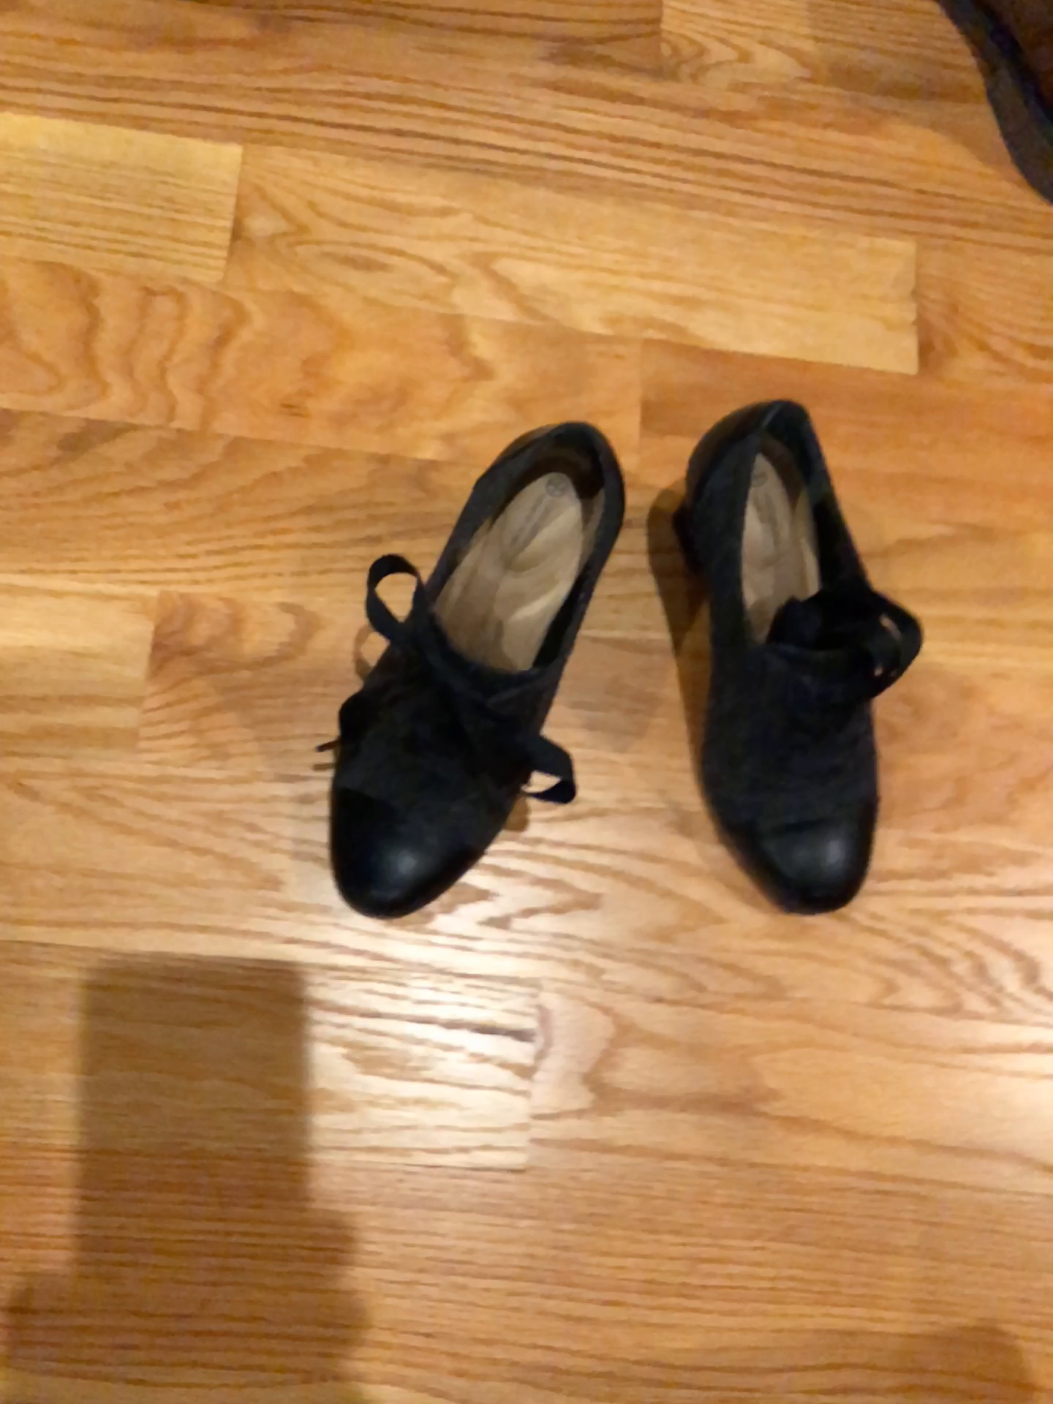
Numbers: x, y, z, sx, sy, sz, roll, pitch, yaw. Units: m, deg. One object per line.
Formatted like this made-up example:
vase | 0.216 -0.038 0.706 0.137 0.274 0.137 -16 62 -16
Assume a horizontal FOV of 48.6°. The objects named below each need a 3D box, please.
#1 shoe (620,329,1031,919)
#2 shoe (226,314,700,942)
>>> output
shoe | 0.118 -0.027 0.515 0.088 0.125 0.223 -9 78 -9
shoe | -0.025 -0.023 0.496 0.093 0.125 0.223 25 75 -1
